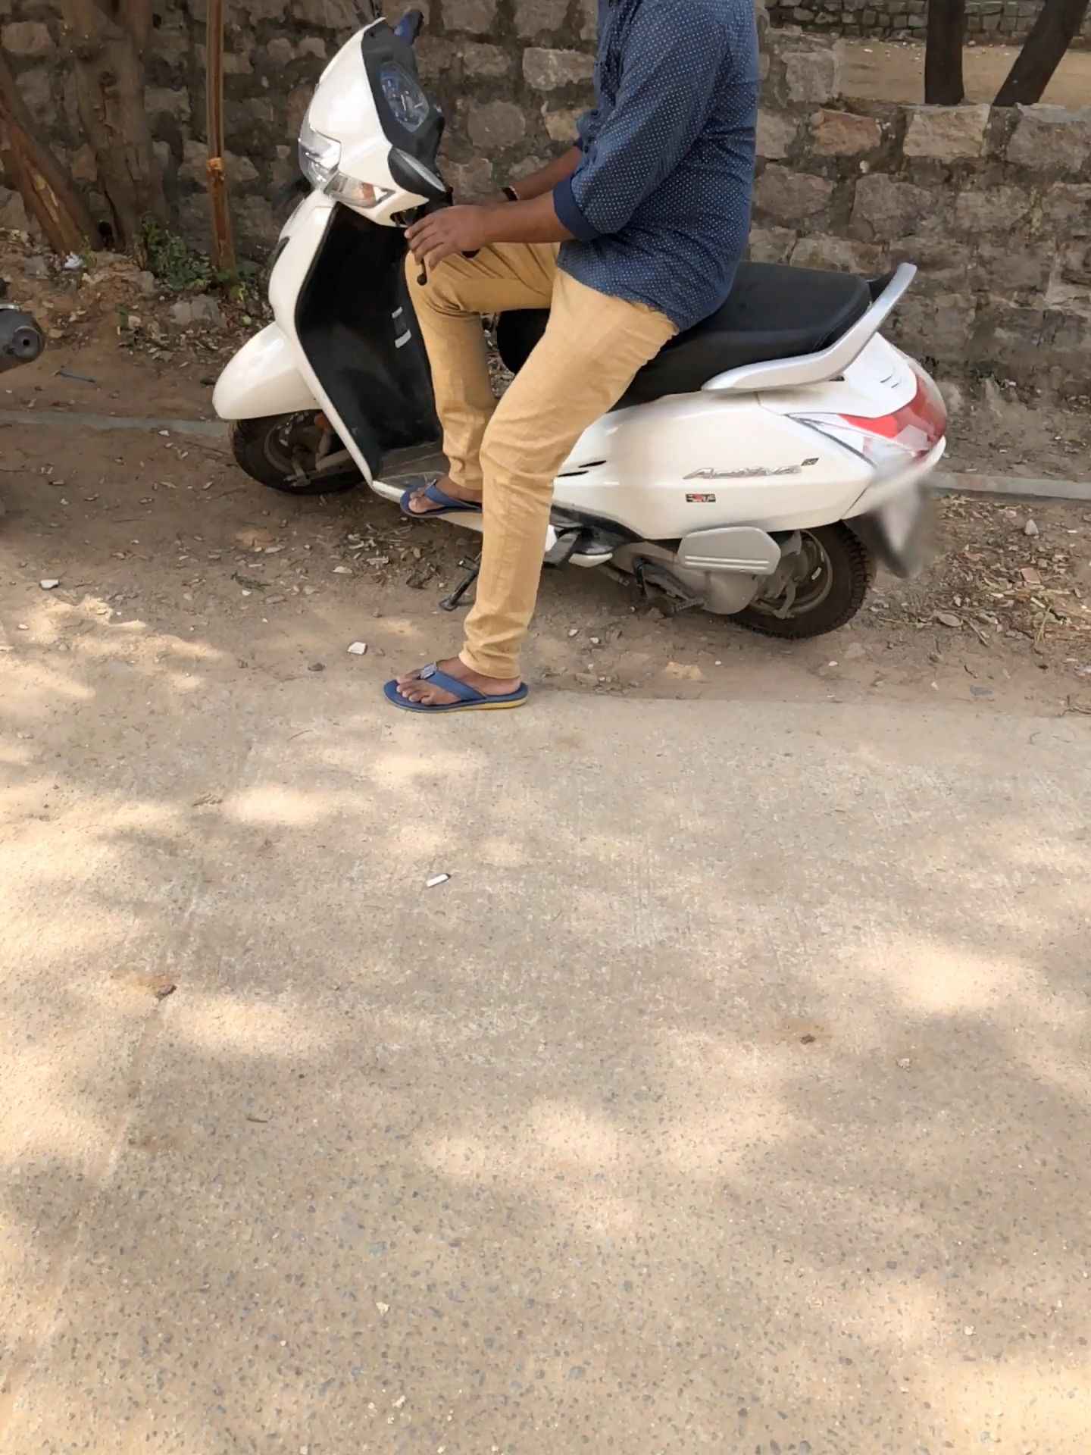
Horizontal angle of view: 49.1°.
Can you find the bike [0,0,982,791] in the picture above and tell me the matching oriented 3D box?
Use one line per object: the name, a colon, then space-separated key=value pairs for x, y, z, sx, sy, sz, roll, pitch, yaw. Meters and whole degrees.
bike: x=-0.101 y=-0.747 z=2.391 sx=1.587 sy=1.200 sz=0.626 roll=15 pitch=36 yaw=17
